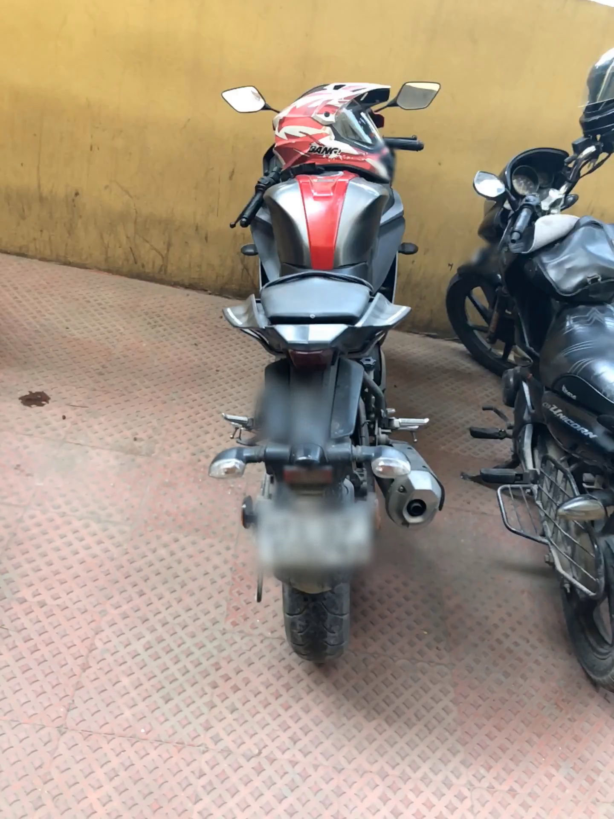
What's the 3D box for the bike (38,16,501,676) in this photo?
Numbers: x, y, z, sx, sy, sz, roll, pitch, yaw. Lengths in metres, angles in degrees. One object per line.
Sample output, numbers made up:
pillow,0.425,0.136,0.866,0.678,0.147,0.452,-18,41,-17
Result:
bike,-0.205,-0.373,1.957,0.725,0.870,1.754,6,39,-10
